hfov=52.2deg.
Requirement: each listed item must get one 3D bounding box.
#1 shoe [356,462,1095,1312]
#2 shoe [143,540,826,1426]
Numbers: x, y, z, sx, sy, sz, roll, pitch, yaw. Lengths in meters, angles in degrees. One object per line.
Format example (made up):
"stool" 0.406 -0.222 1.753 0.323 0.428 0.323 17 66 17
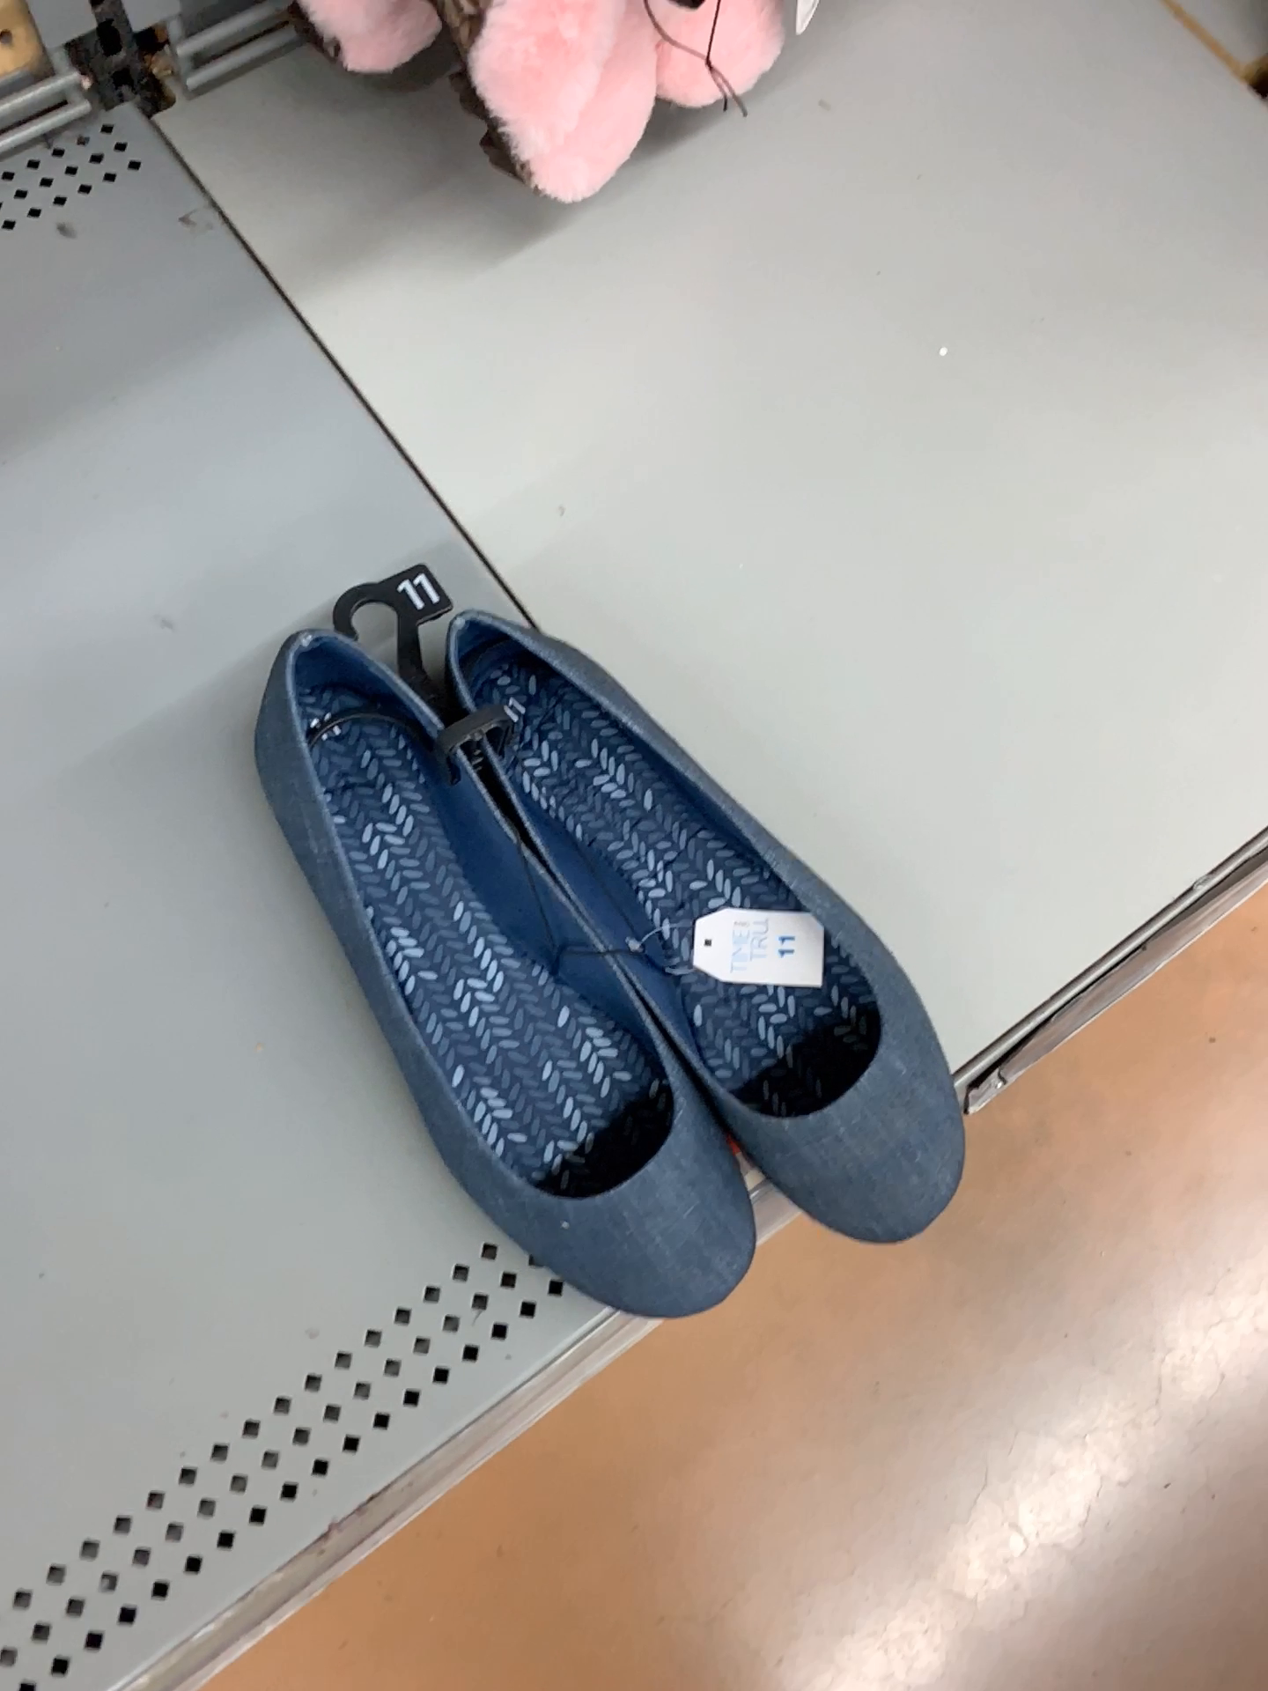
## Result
"shoe" 0.025 0.013 0.464 0.090 0.090 0.280 -35 80 -6
"shoe" -0.054 0.044 0.460 0.090 0.090 0.280 -31 79 -8
